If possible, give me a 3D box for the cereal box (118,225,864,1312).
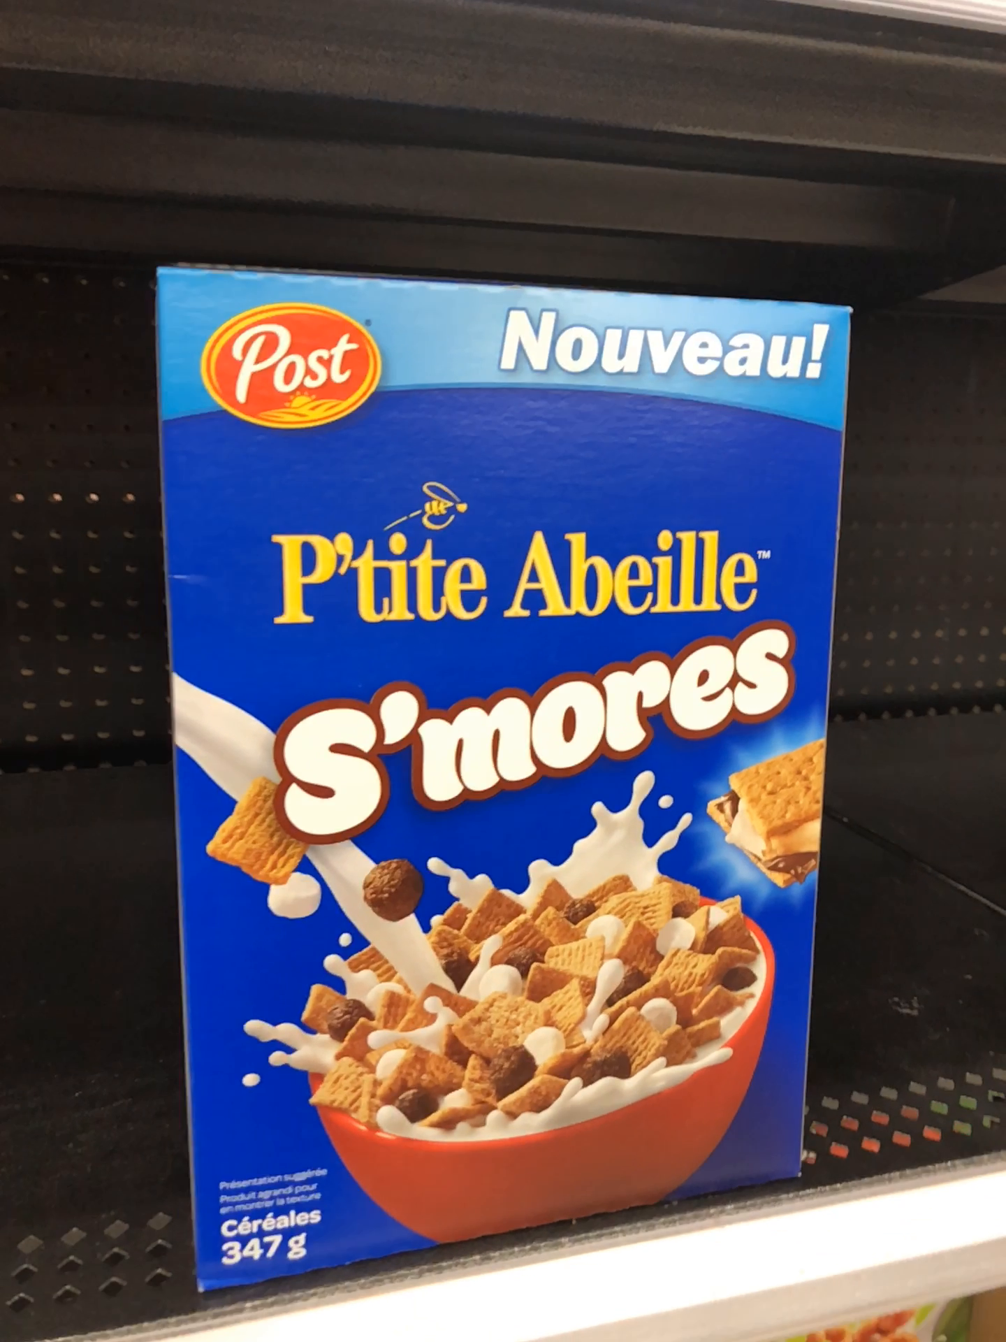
[{"bbox_3d":[-0.003,0.025,0.336,0.200,0.279,0.060,-3,11,-18],"label":"cereal box"}]
